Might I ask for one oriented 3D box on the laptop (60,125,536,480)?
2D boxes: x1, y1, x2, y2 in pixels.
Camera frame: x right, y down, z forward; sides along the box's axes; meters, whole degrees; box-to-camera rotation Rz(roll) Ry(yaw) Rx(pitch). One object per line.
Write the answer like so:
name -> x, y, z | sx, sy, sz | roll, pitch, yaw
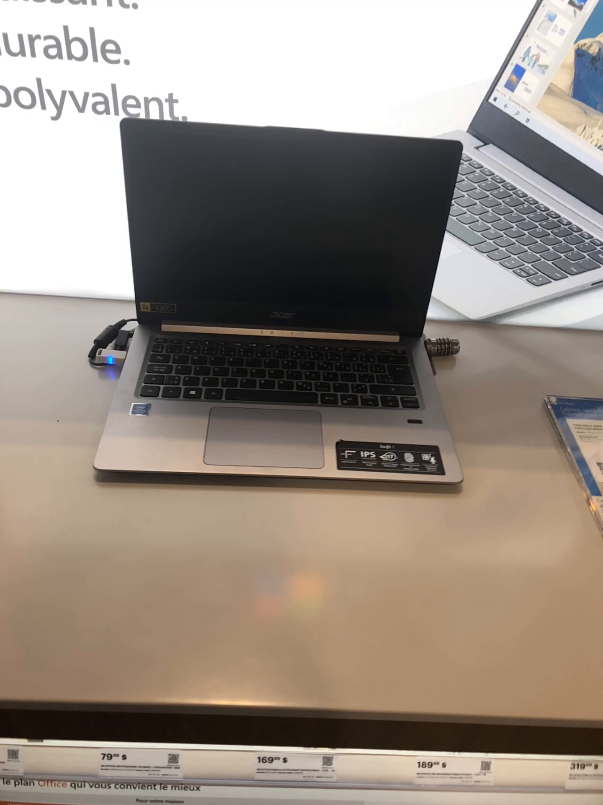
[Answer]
laptop -> -0.009, -0.092, 0.584 | 0.311, 0.210, 0.227 | 3, 38, -4
